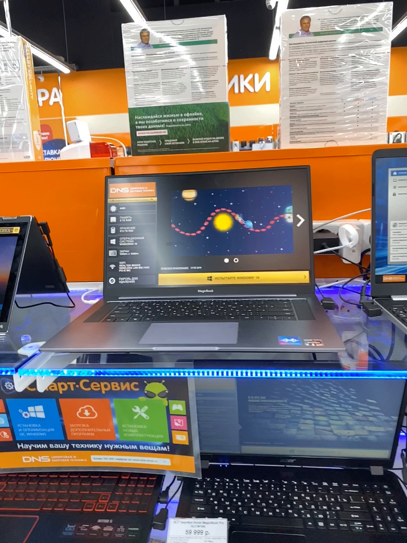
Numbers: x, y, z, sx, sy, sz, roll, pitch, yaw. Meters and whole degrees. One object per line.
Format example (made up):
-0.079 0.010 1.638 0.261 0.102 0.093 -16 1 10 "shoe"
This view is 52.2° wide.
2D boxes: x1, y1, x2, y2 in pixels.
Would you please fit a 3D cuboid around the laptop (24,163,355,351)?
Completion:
-0.002 -0.044 0.627 0.368 0.207 0.315 -1 12 7 "laptop"
